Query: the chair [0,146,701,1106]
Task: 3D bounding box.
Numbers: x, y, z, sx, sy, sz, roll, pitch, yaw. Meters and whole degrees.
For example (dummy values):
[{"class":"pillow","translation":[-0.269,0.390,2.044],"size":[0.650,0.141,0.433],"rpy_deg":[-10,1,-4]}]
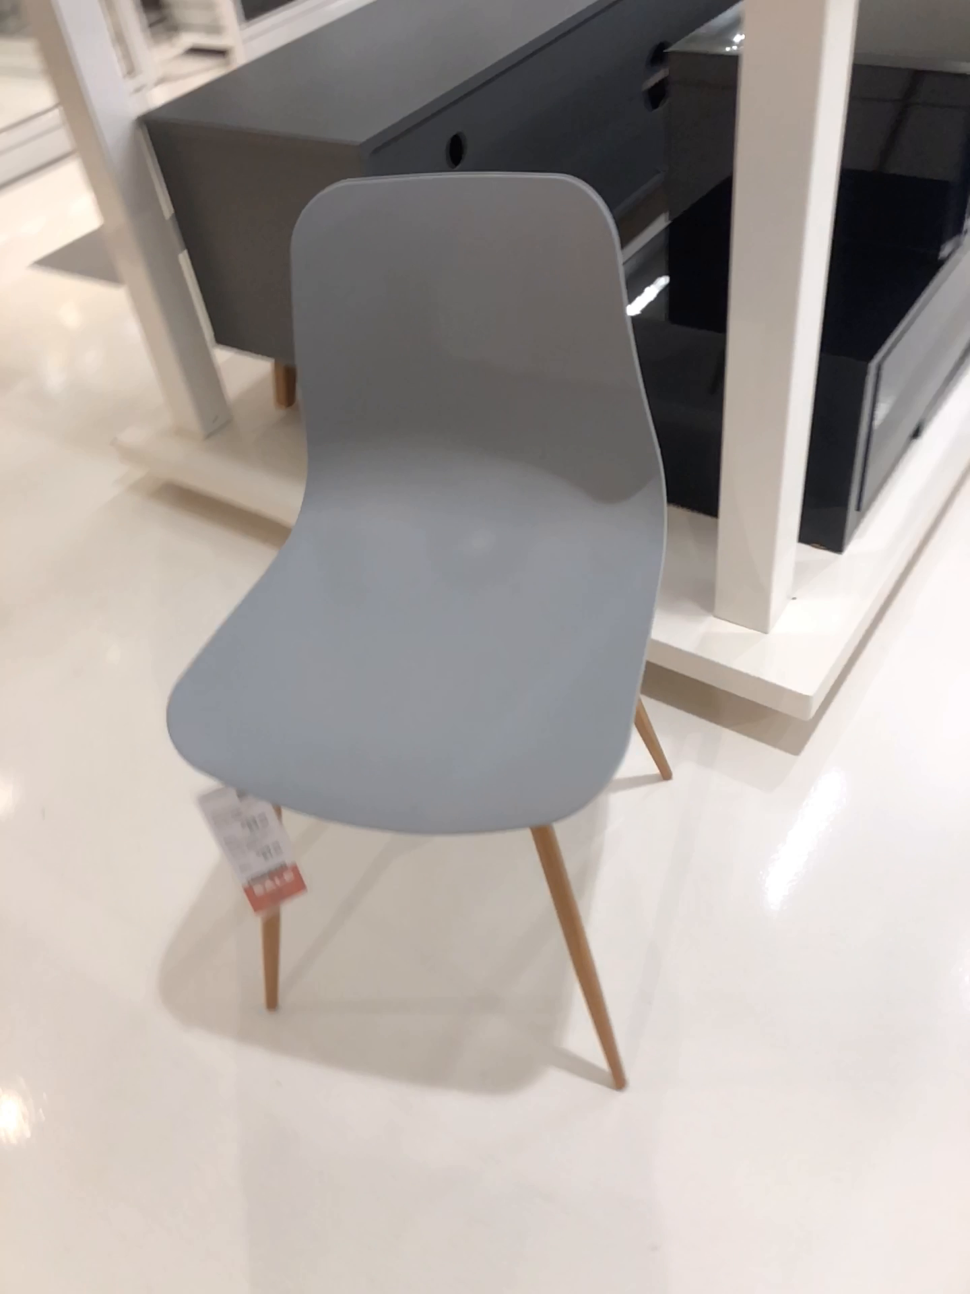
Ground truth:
[{"class":"chair","translation":[-0.056,0.008,1.082],"size":[0.470,0.814,0.473],"rpy_deg":[6,46,17]}]
